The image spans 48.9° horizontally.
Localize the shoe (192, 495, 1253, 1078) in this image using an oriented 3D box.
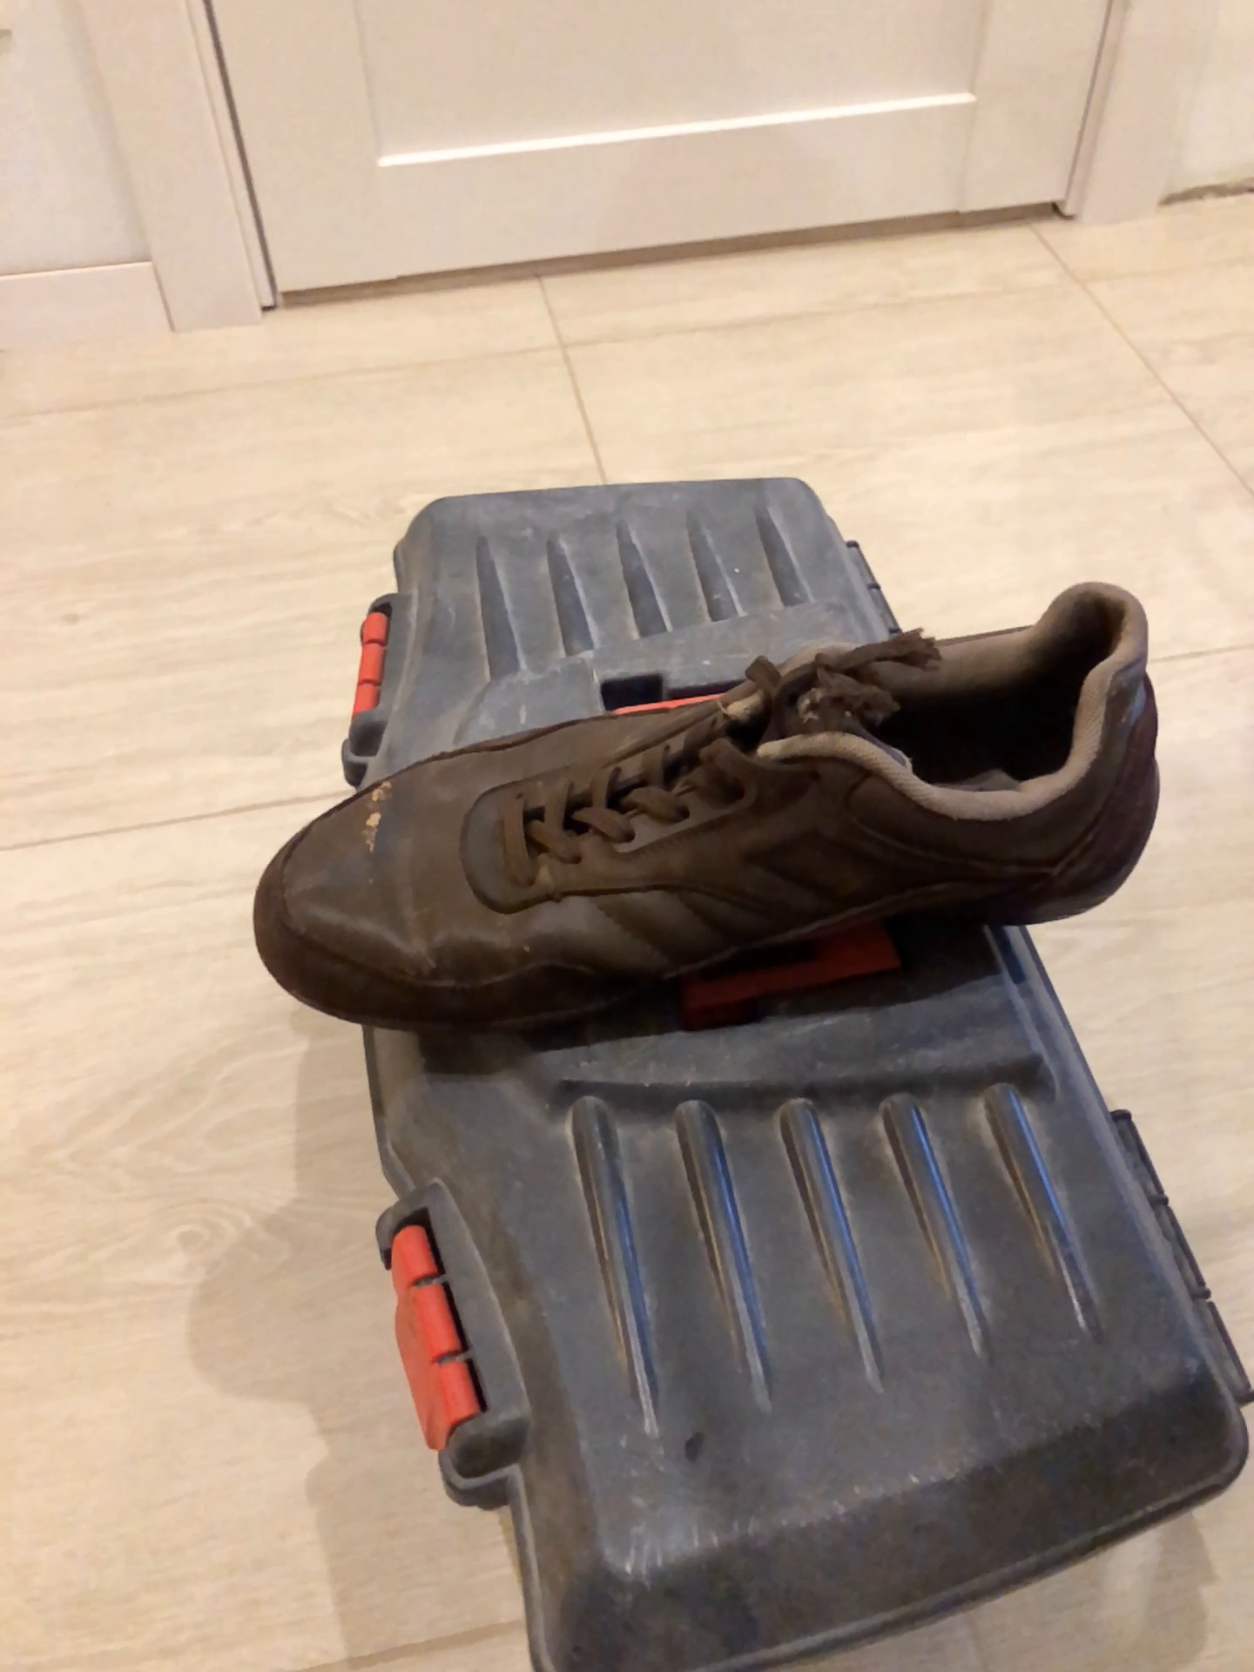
[{"bbox_3d":[0.023,-0.017,0.431,0.280,0.099,0.111,-7,50,-4],"label":"shoe"}]
